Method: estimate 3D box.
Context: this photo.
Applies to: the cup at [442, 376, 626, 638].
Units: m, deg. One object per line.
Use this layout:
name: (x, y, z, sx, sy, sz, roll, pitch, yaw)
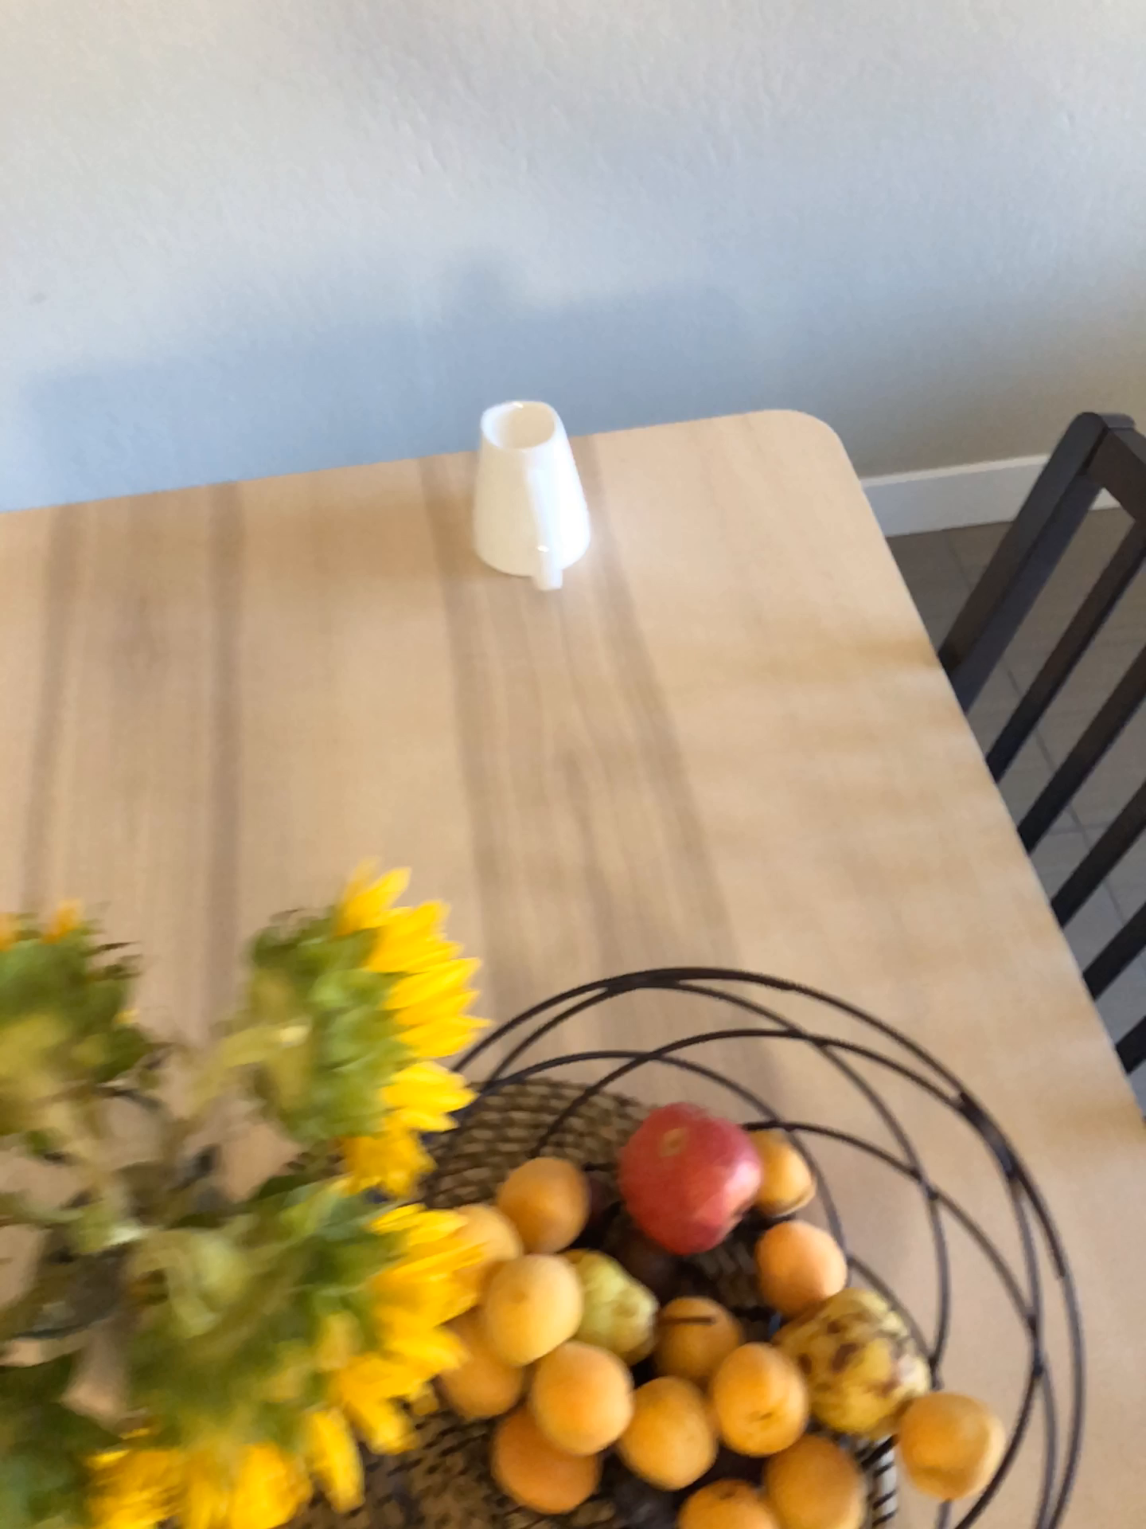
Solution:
cup: (-0.030, -0.199, 0.978, 0.100, 0.120, 0.140, -15, 53, -10)
